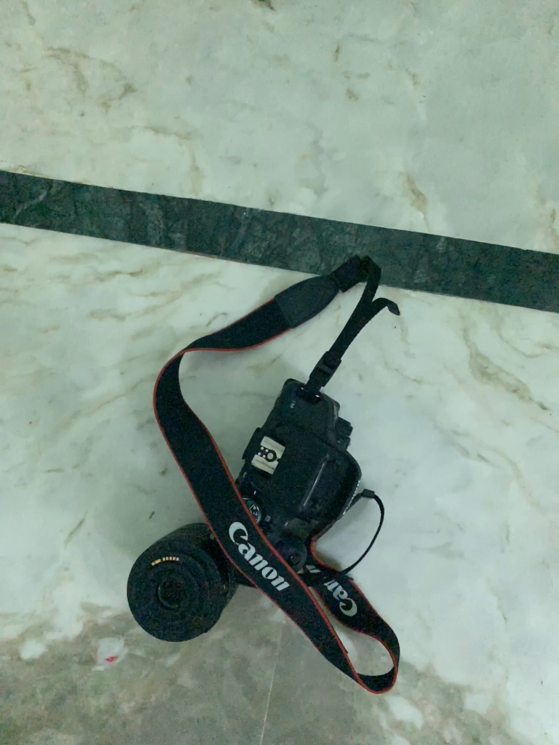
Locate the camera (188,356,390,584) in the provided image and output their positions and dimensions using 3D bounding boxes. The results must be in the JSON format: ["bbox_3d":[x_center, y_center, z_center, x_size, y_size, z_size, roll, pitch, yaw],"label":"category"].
[{"bbox_3d":[0.009,0.062,0.388,0.082,0.078,0.112,26,86,8],"label":"camera"}]
